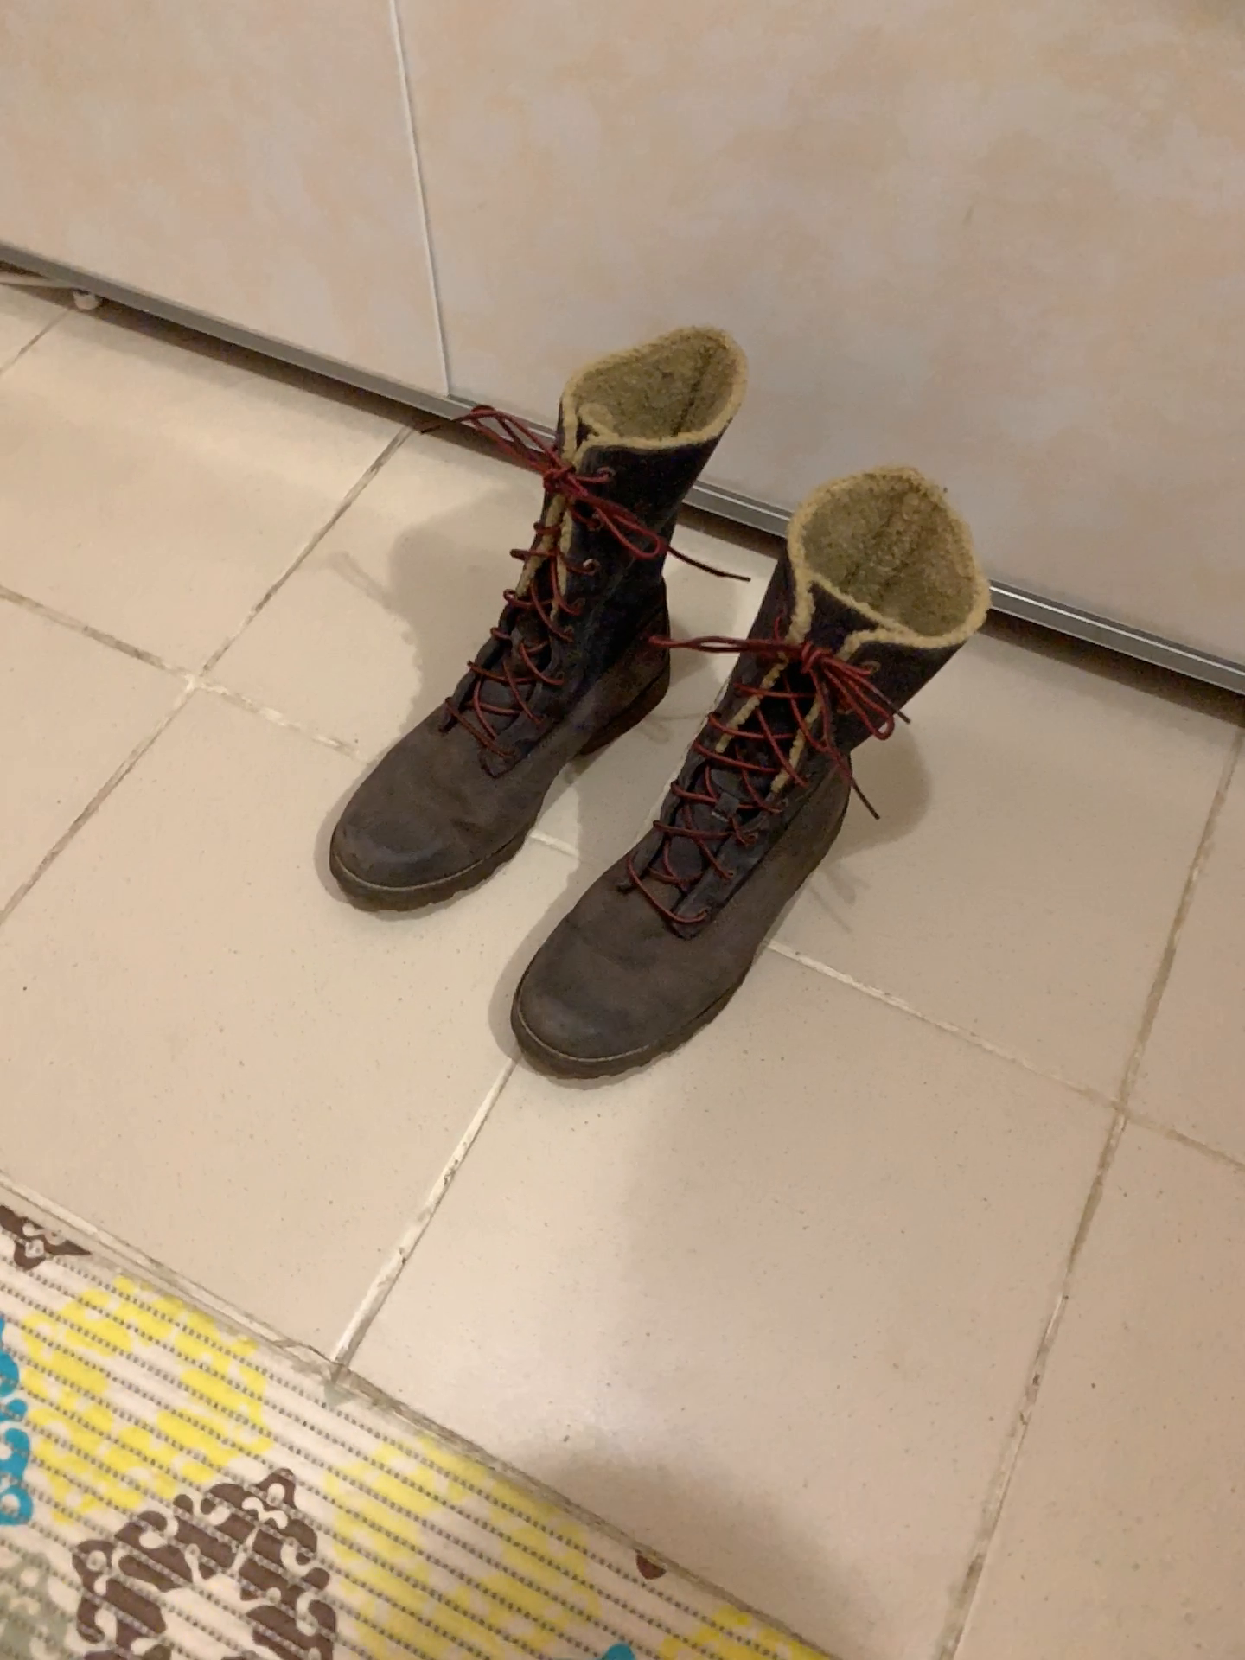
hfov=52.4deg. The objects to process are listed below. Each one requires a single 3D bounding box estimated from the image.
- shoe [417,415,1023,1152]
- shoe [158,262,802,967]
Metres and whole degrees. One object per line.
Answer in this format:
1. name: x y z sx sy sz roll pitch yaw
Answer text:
1. shoe: 0.056 -0.011 0.638 0.100 0.249 0.280 35 69 21
2. shoe: -0.060 -0.098 0.654 0.100 0.250 0.280 43 68 16
